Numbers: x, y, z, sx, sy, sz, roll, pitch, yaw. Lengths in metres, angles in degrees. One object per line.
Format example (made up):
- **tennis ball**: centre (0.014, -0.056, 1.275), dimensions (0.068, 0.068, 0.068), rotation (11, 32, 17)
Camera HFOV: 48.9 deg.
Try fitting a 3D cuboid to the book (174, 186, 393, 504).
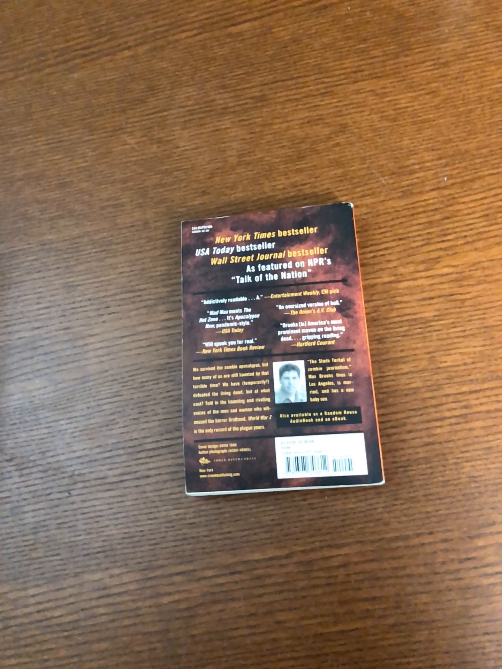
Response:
- **book**: centre (0.018, 0.005, 0.398), dimensions (0.140, 0.030, 0.220), rotation (-4, 73, 8)
